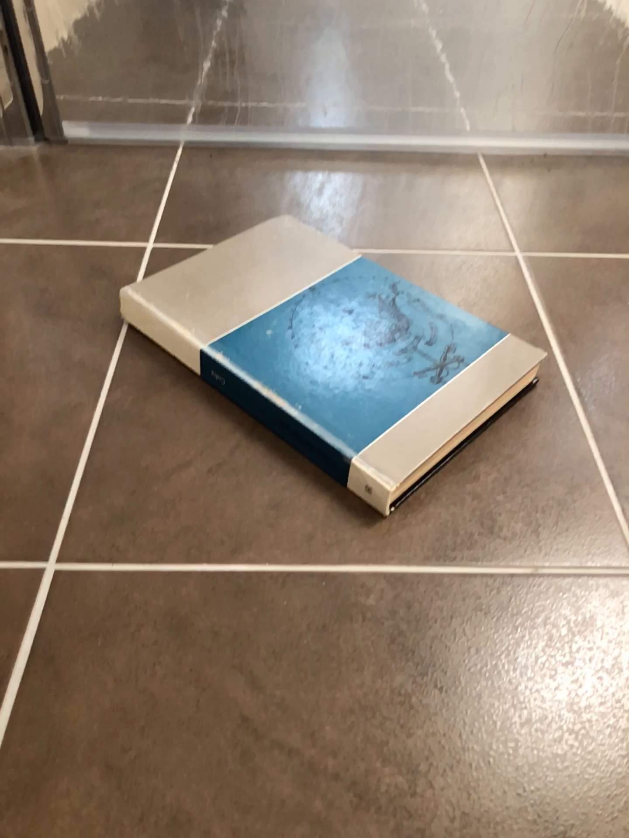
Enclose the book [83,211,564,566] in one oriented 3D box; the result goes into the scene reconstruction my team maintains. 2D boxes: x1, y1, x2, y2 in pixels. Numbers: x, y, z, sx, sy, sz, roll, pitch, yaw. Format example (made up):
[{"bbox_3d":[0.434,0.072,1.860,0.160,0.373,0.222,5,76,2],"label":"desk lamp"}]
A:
[{"bbox_3d":[-0.001,-0.053,0.532,0.300,0.040,0.211,35,54,29],"label":"book"}]
